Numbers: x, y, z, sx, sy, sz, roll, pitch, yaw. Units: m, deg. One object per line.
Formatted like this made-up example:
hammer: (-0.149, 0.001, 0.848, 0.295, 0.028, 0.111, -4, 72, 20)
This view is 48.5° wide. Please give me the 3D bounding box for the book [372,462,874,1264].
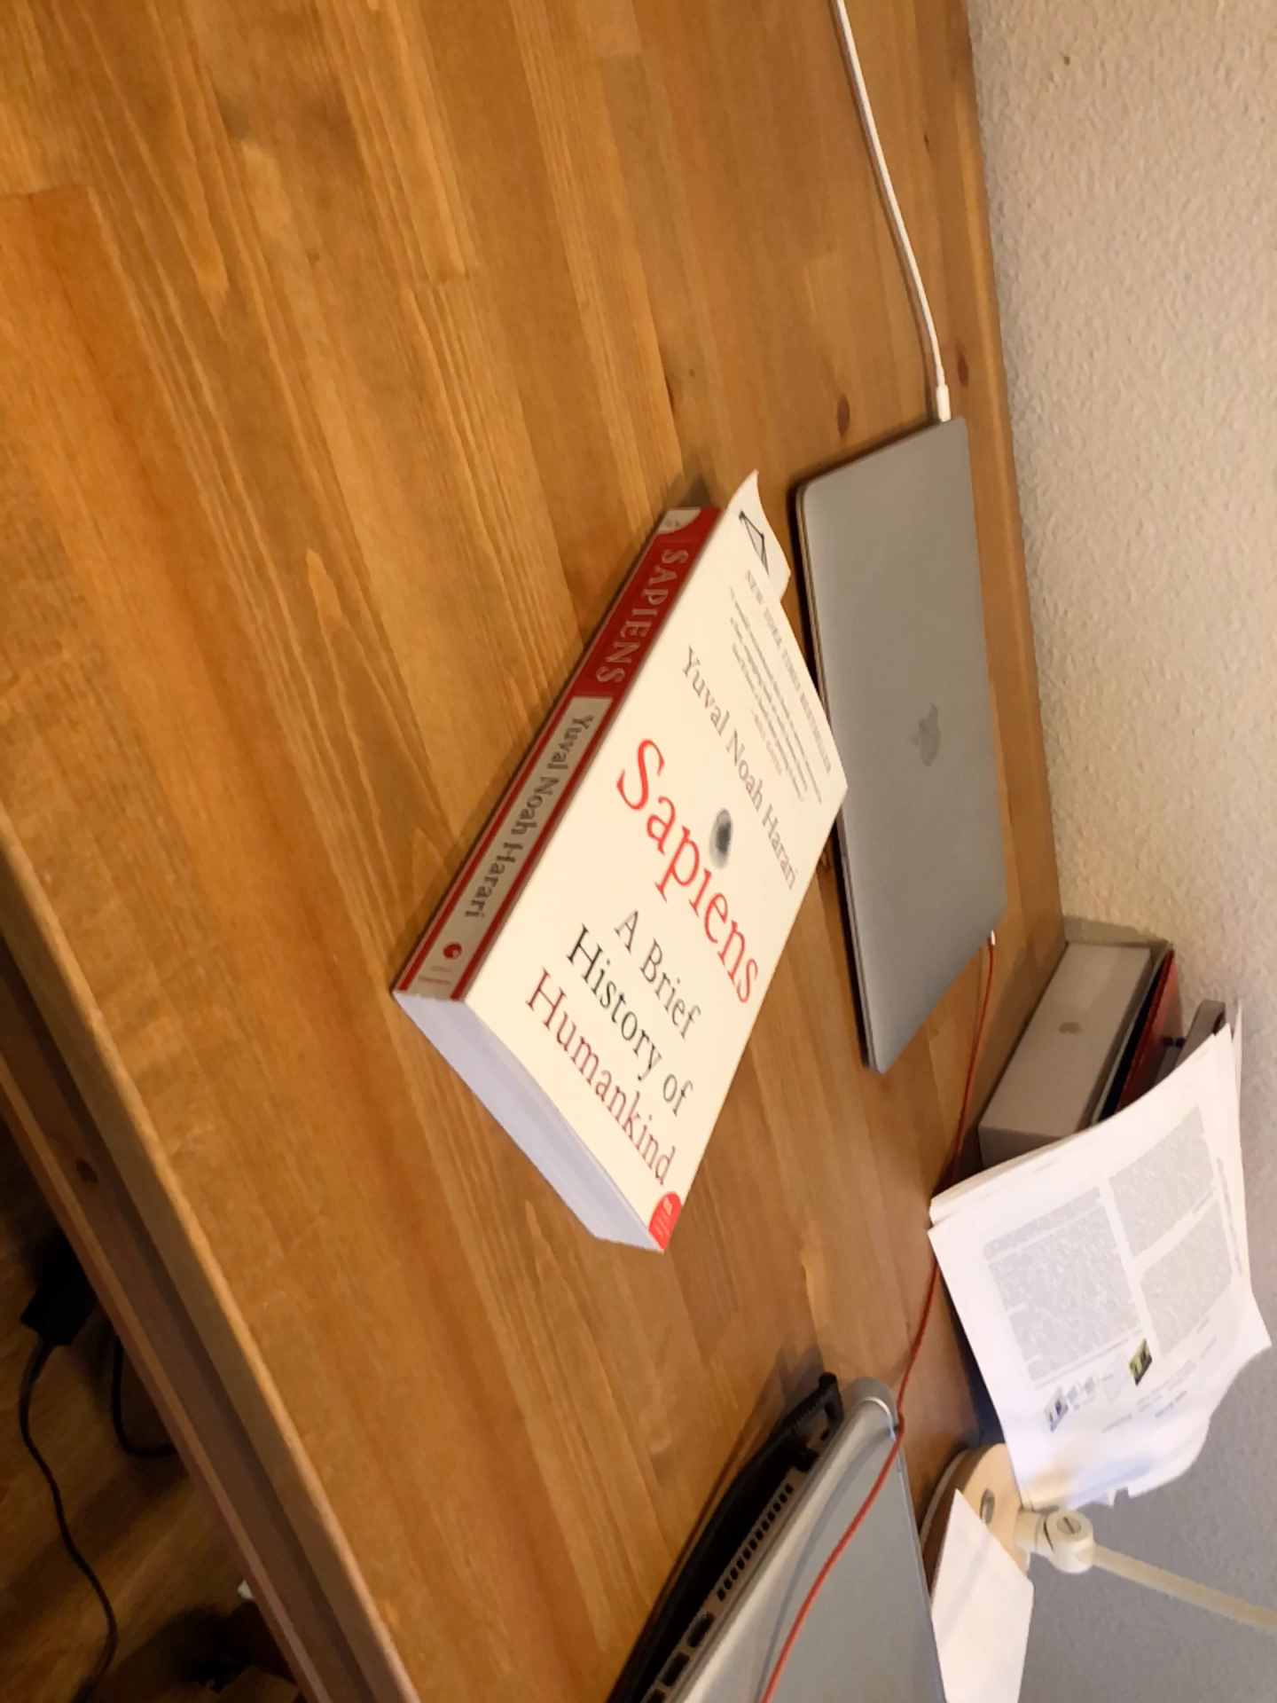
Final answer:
book: (0.015, 0.000, 0.541, 0.171, 0.040, 0.250, 60, 44, -41)
